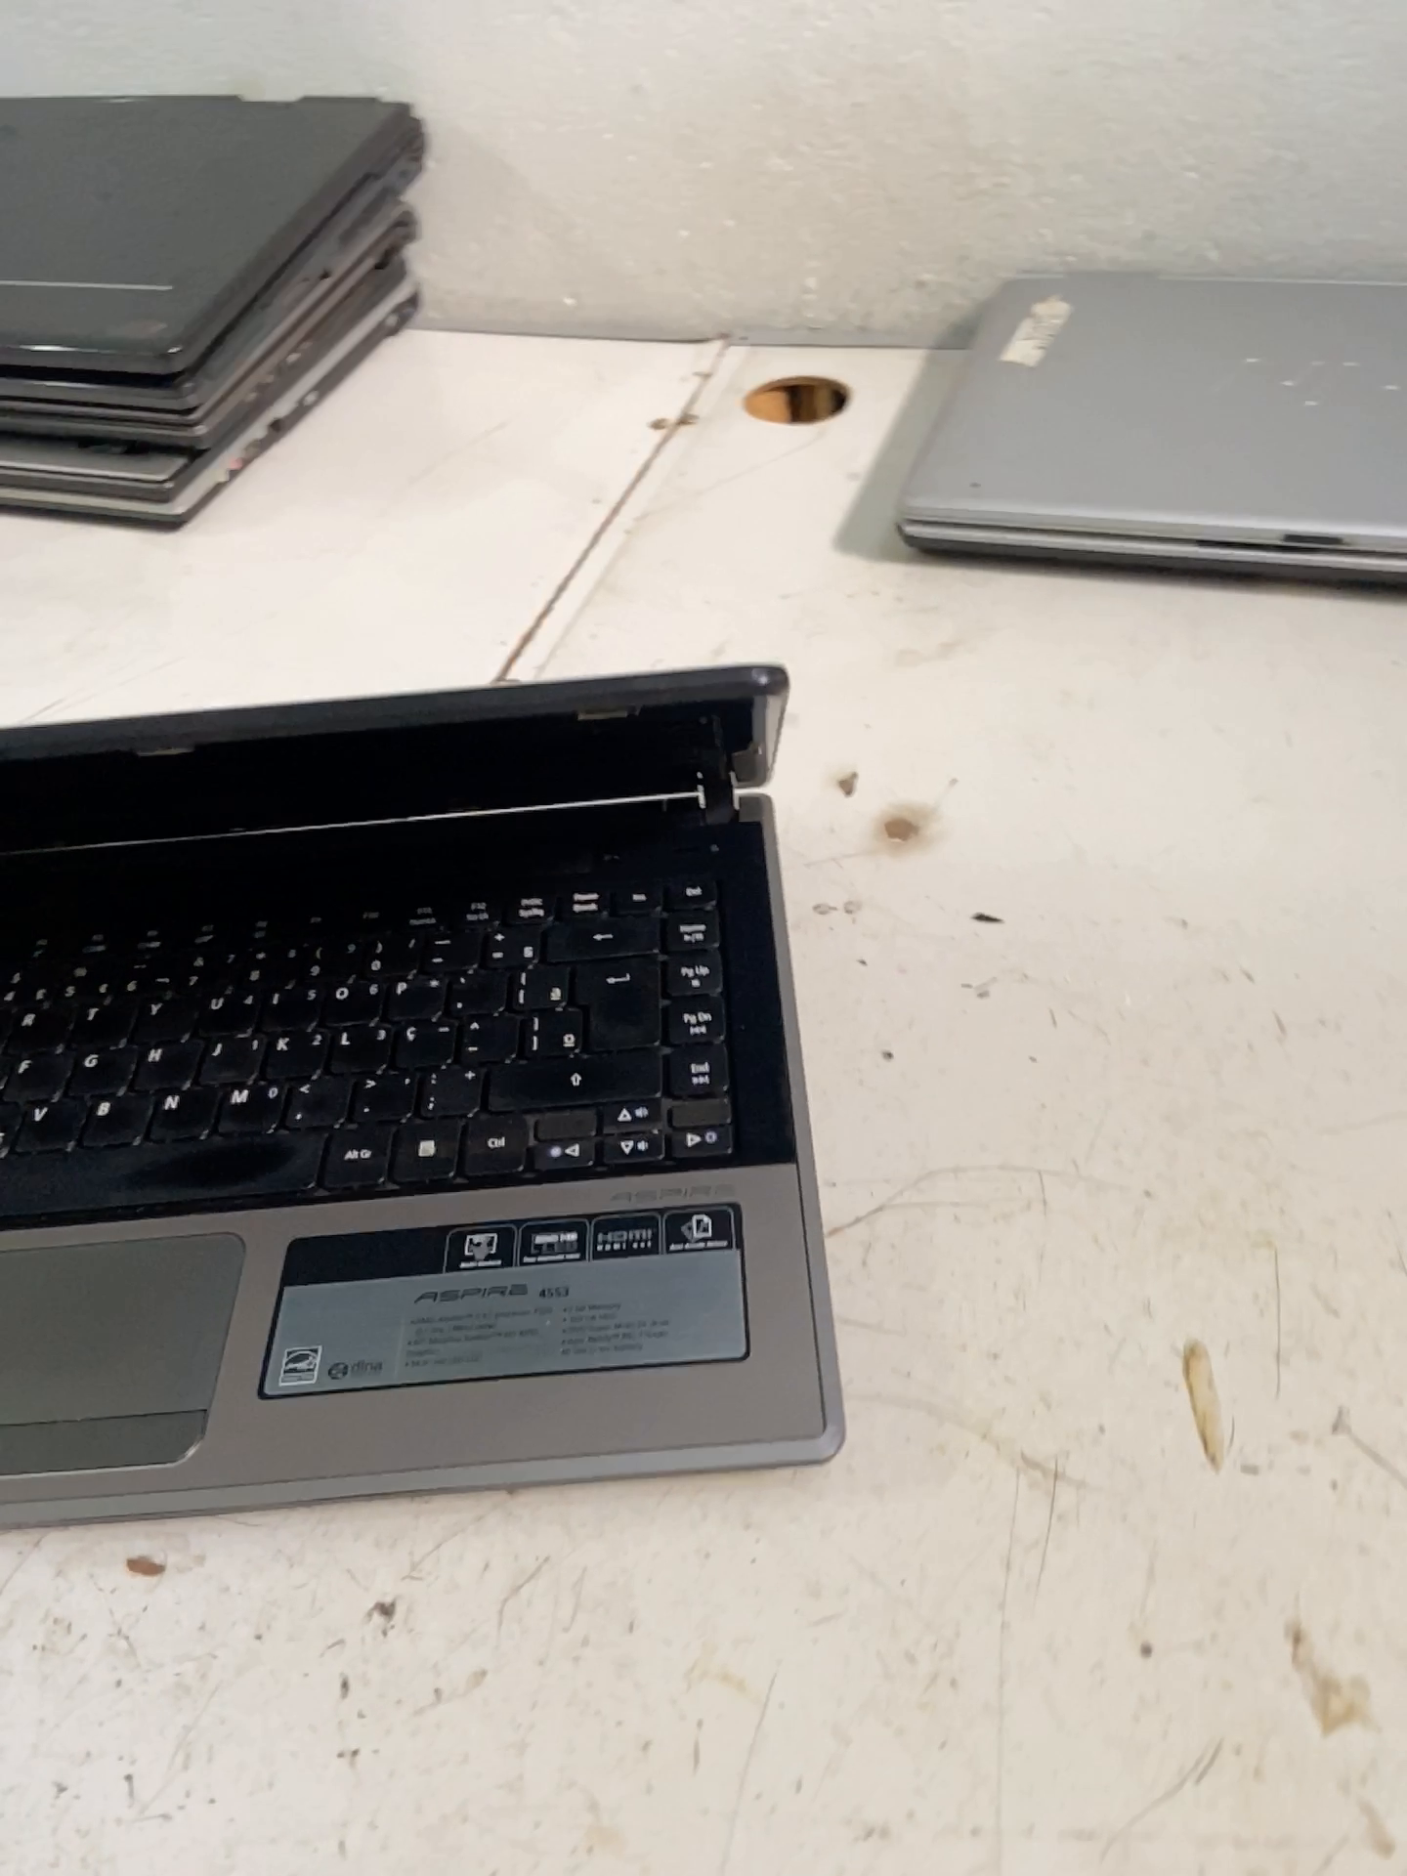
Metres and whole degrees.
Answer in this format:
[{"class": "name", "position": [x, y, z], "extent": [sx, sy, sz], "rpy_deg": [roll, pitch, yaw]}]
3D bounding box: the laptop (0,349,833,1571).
[{"class": "laptop", "position": [-0.147, -0.005, 0.361], "extent": [0.334, 0.157, 0.227], "rpy_deg": [-5, 44, 1]}]
